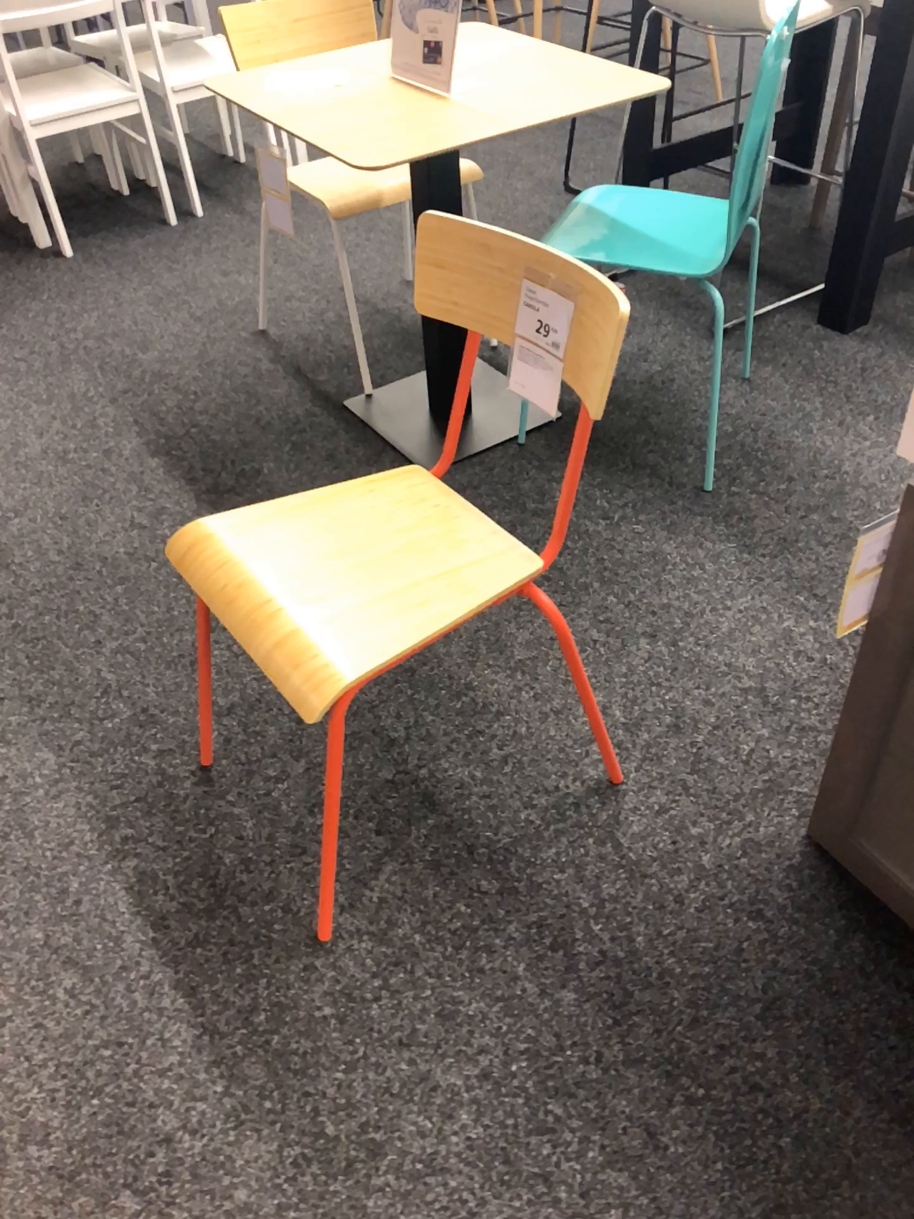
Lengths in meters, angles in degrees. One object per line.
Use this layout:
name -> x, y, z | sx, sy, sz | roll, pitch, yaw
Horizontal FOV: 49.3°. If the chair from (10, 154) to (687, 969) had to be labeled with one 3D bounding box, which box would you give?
chair -> -0.111, -0.067, 1.350 | 0.562, 0.815, 0.501 | -27, 46, -24
